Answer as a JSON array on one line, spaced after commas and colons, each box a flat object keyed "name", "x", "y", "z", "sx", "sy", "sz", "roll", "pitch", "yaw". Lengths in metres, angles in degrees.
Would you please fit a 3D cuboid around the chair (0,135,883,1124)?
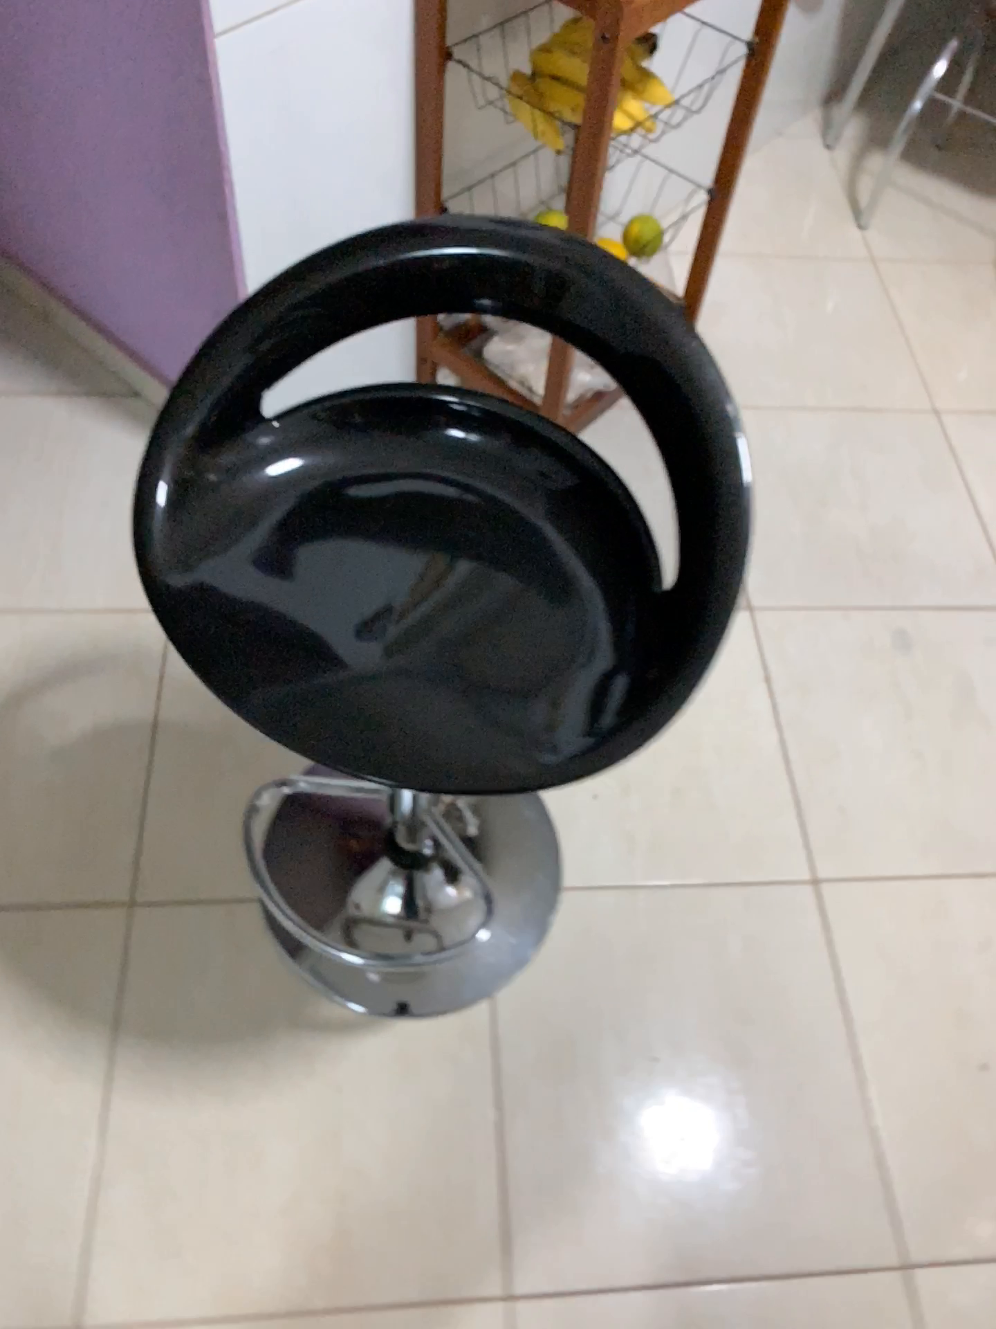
[{"name": "chair", "x": -0.064, "y": 0.049, "z": 1.018, "sx": 0.452, "sy": 0.814, "sz": 0.446, "roll": 30, "pitch": 59, "yaw": 14}]
